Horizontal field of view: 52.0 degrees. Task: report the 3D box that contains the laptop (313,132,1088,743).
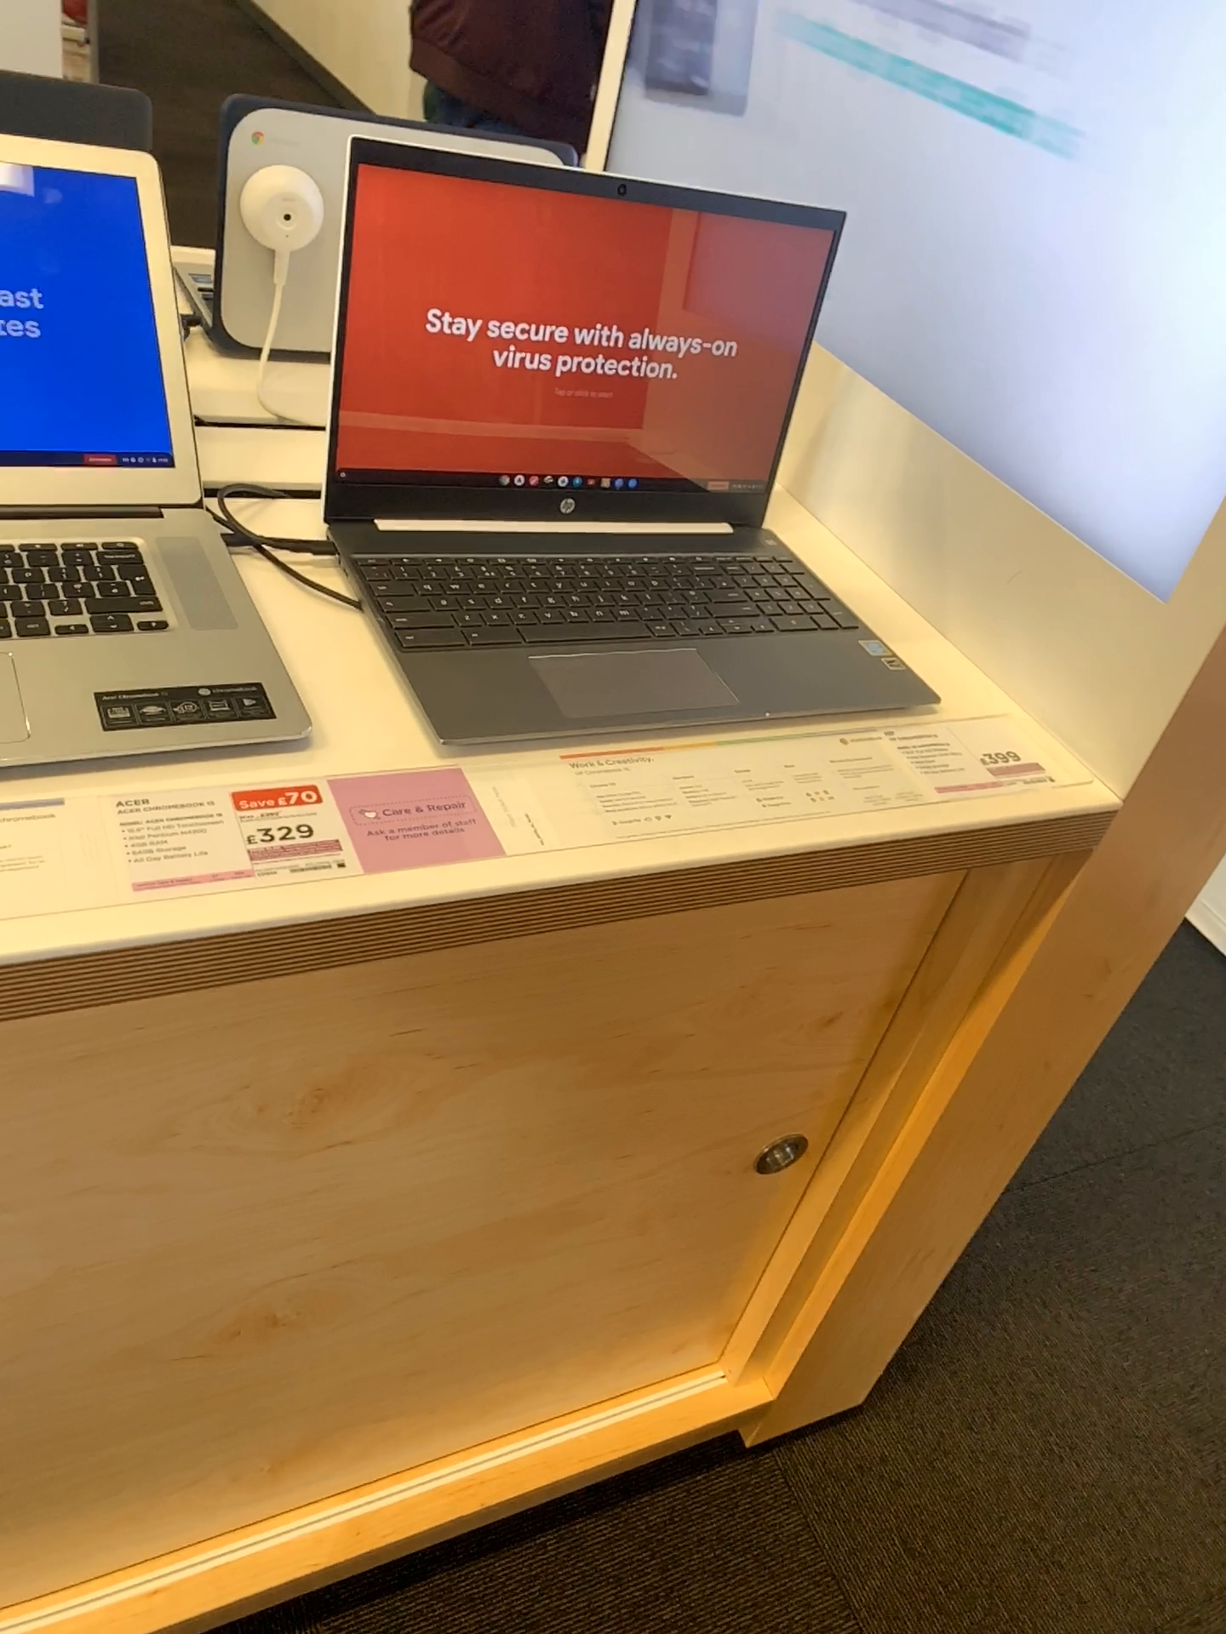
[{"bbox_3d":[0.032,-0.233,0.777,0.352,0.228,0.265,-7,43,-27],"label":"laptop"}]
